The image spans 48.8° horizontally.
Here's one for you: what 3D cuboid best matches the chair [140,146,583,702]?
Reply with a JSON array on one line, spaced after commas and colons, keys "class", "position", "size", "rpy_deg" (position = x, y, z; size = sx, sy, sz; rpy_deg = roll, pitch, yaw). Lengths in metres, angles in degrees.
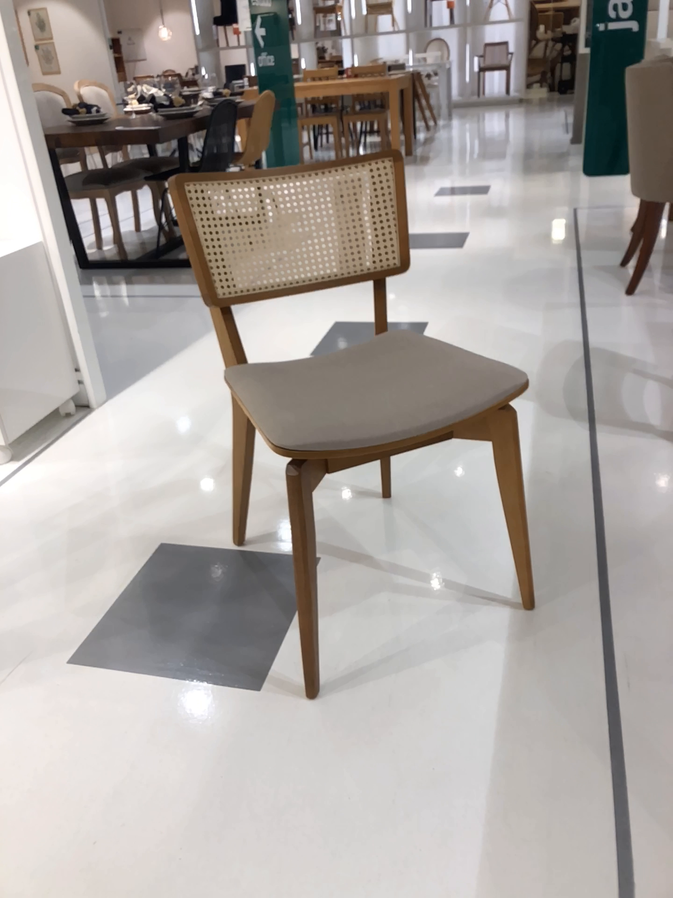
[{"class": "chair", "position": [0.026, -0.108, 1.431], "size": [0.541, 0.794, 0.604], "rpy_deg": [-15, 29, -19]}]
